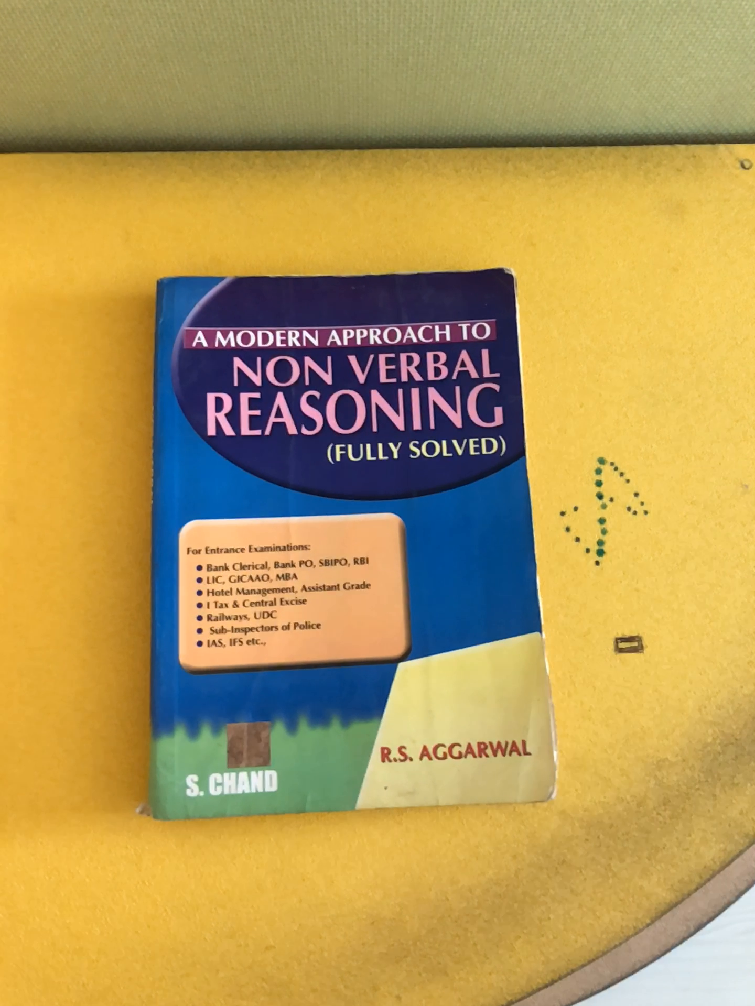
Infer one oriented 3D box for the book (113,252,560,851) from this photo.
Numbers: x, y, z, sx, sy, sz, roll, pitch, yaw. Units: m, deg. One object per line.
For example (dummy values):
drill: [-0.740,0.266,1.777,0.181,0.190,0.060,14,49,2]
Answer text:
book: [-0.021,0.013,0.362,0.170,0.040,0.240,-2,78,-3]
